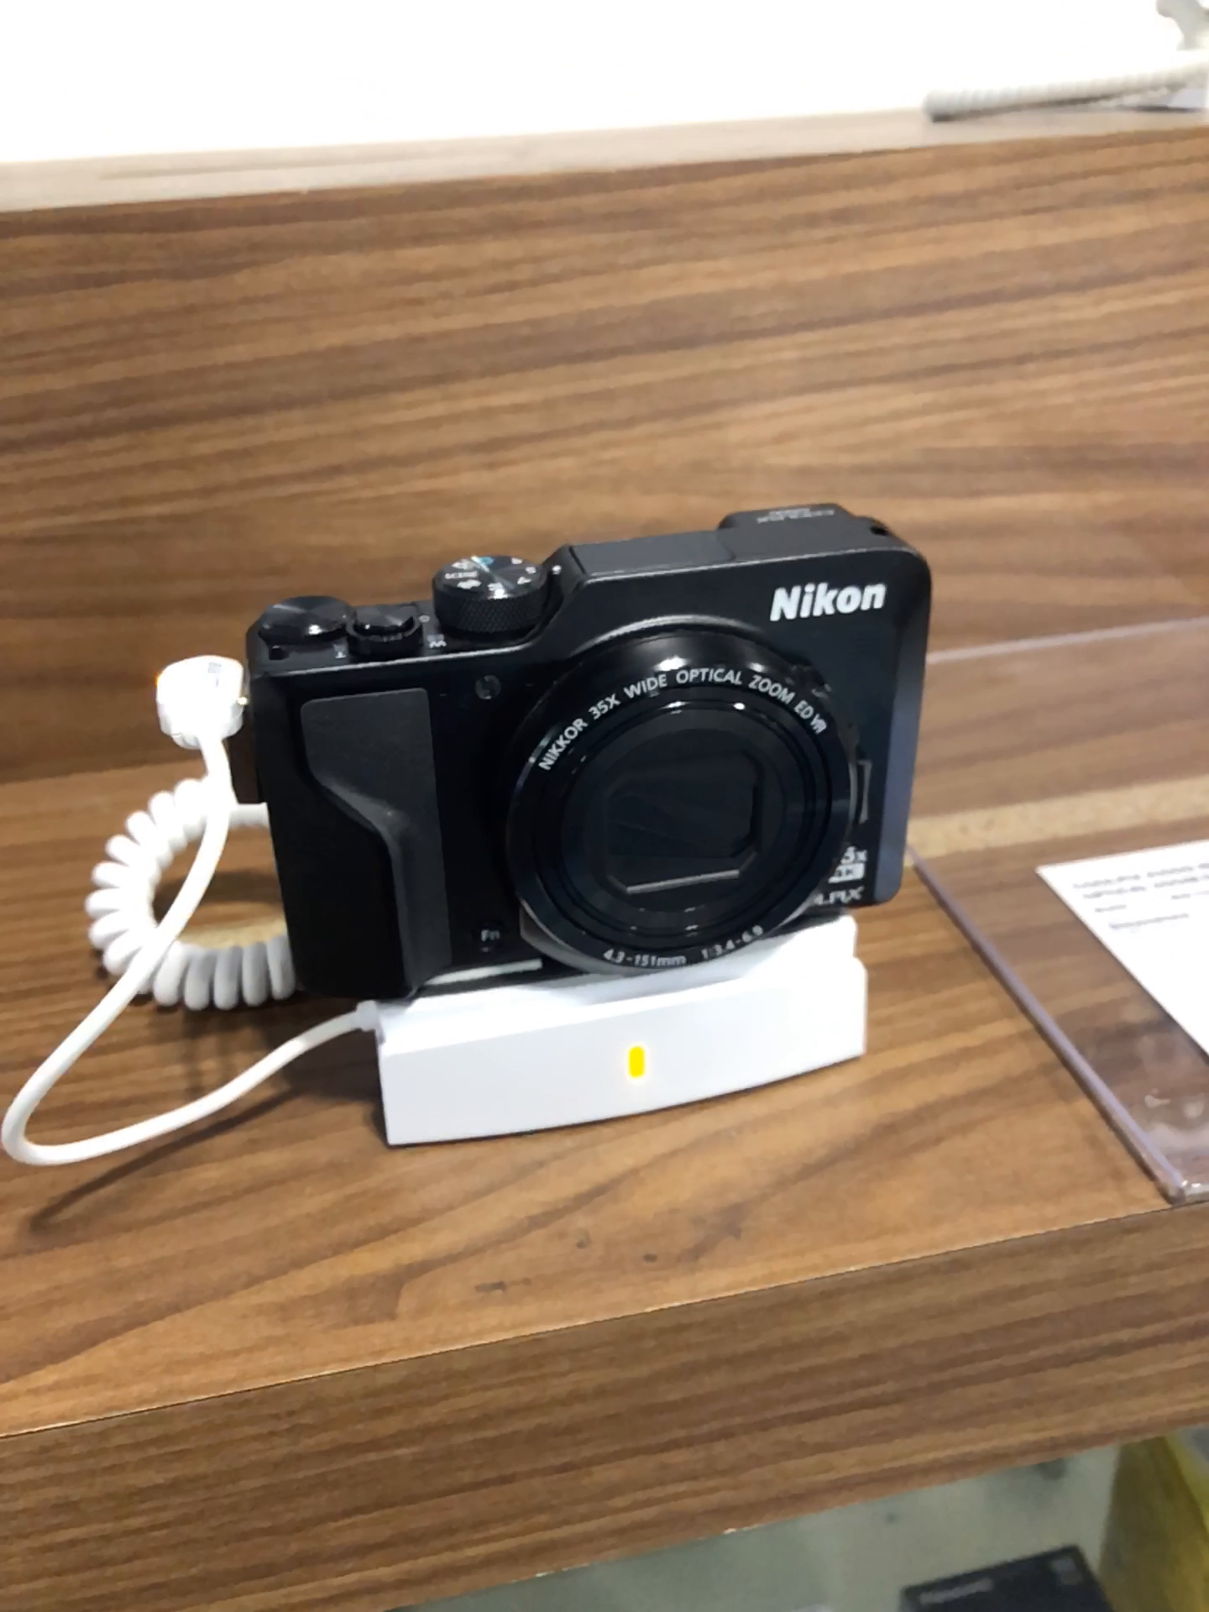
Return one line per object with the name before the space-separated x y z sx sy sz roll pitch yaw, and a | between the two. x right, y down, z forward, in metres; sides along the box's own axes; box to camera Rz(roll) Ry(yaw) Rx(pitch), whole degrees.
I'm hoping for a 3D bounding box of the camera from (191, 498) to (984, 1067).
camera | -0.003 -0.007 0.239 0.120 0.070 0.050 -8 27 -8
